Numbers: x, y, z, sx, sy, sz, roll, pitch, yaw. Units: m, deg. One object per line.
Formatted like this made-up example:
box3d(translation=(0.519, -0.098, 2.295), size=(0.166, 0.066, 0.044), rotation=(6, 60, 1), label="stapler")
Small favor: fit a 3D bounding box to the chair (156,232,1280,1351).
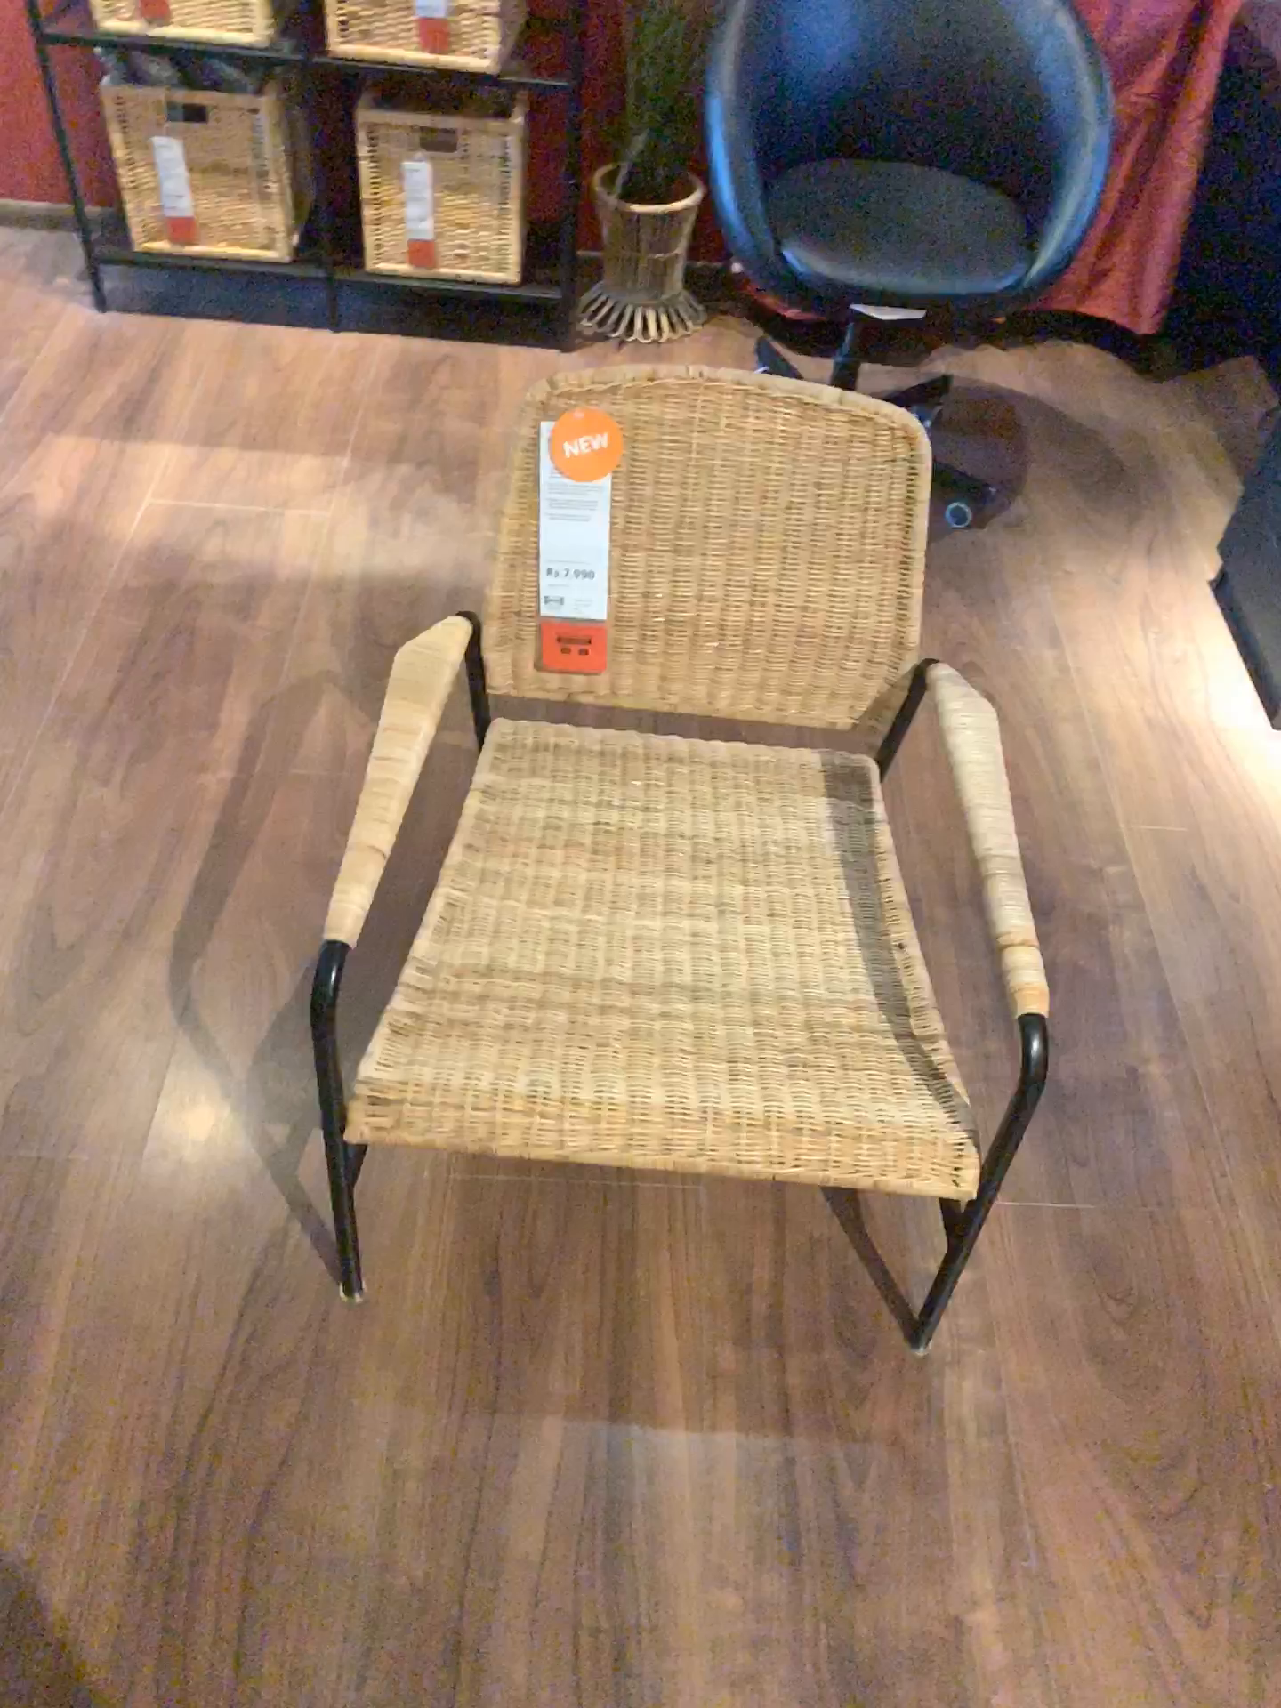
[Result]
box3d(translation=(0.049, -0.052, 1.344), size=(0.710, 0.757, 0.793), rotation=(5, 48, -2), label="chair")
